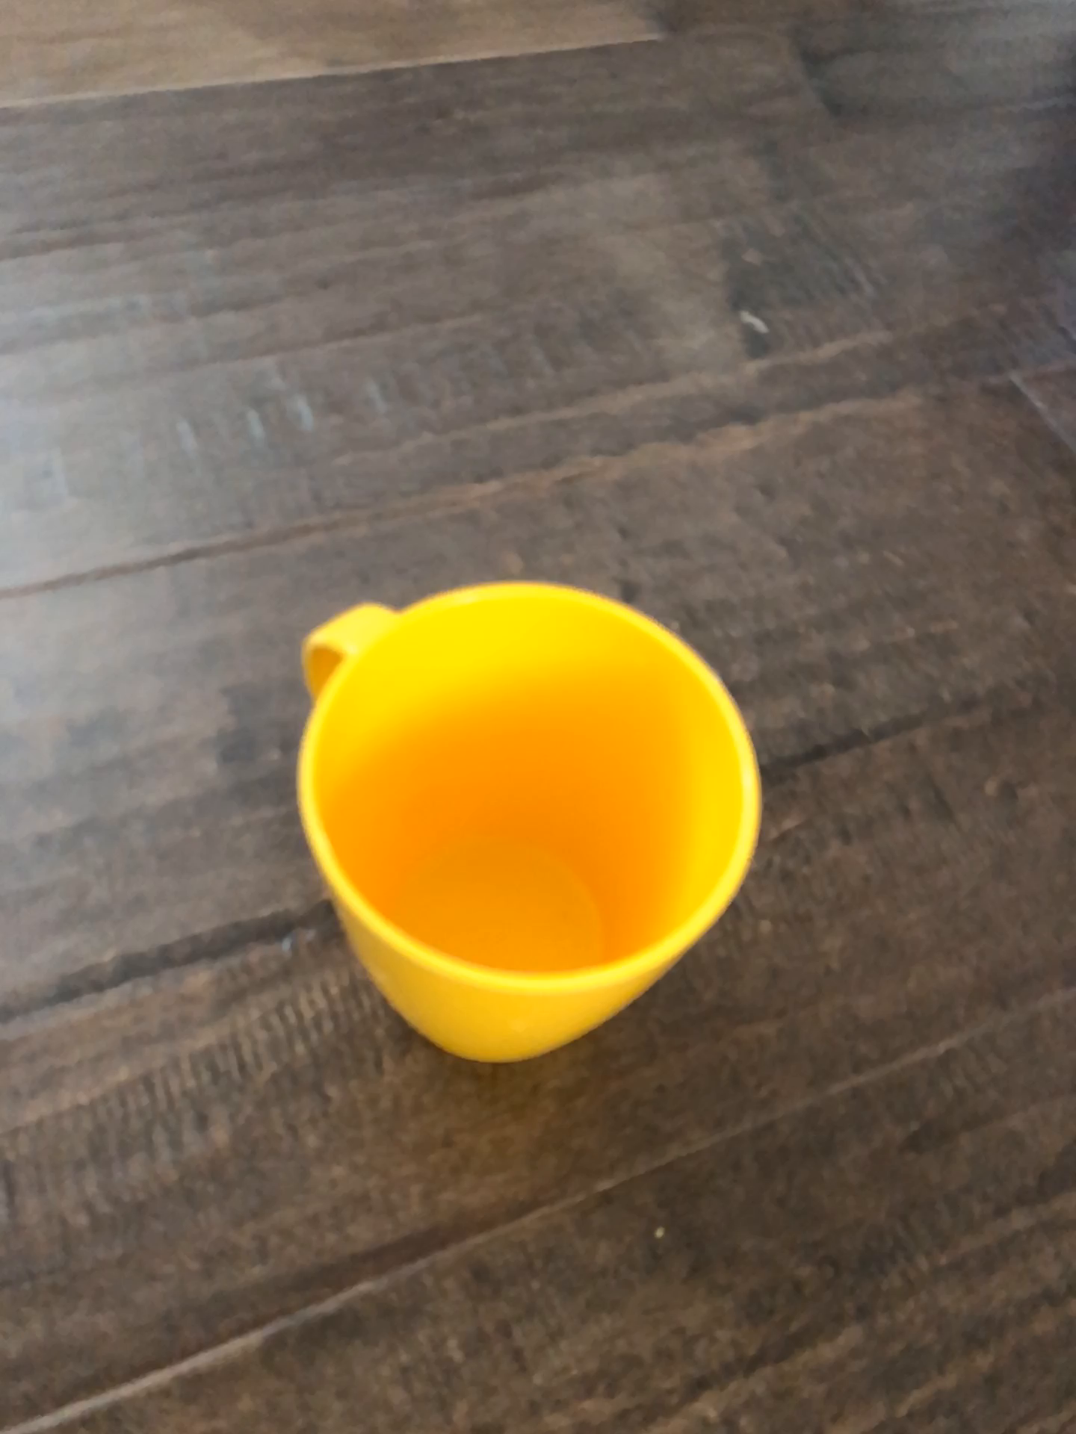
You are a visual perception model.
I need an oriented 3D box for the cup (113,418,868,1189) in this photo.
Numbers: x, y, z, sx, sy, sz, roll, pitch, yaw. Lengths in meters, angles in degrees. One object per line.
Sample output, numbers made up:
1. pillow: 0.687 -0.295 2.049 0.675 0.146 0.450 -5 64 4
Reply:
1. cup: -0.012 0.021 0.262 0.110 0.099 0.091 36 60 16
